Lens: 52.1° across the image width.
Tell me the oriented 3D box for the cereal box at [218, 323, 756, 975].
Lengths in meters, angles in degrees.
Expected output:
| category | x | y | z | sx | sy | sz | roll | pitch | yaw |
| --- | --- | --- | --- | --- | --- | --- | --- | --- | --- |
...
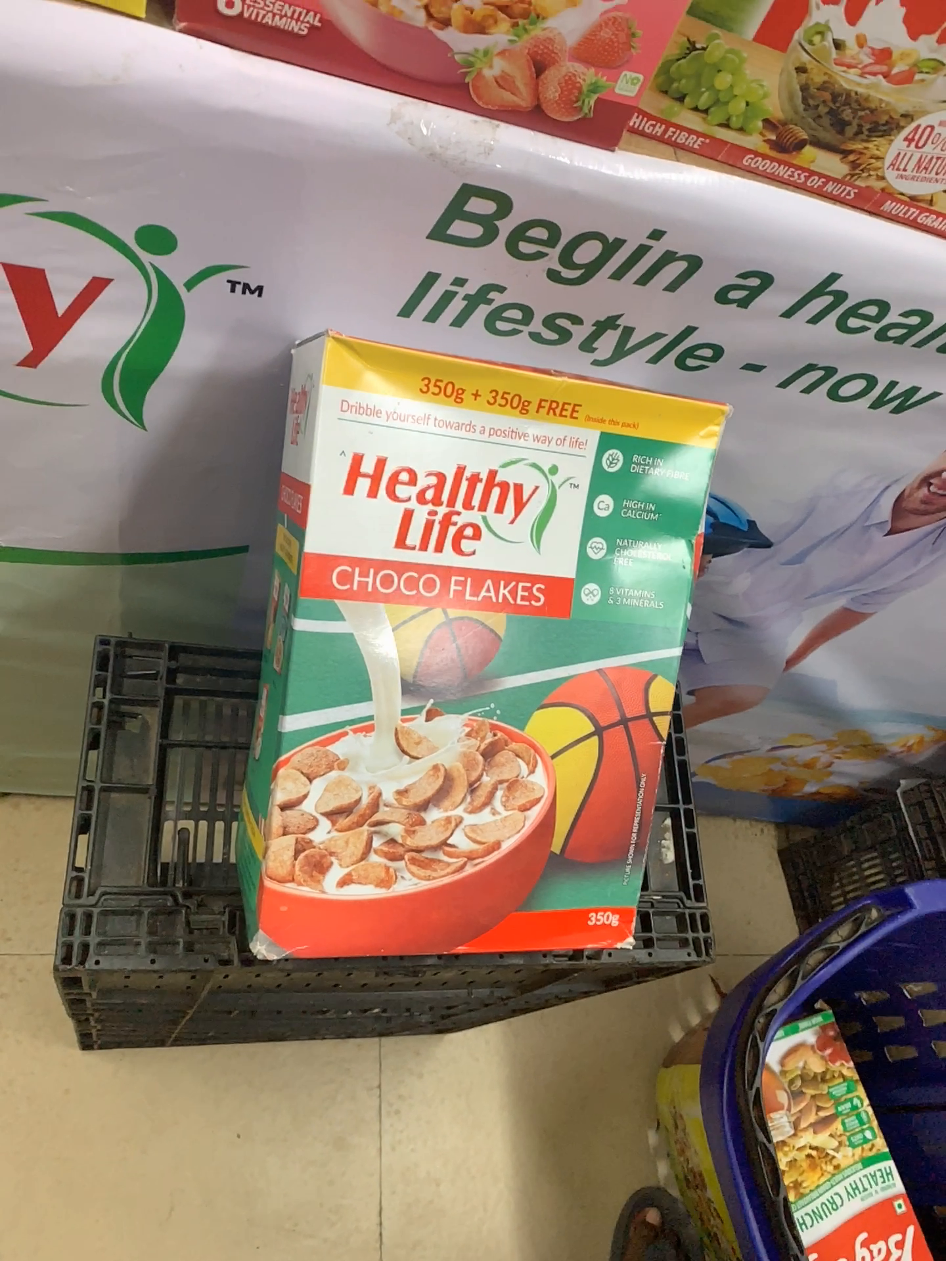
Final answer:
| category | x | y | z | sx | sy | sz | roll | pitch | yaw |
| --- | --- | --- | --- | --- | --- | --- | --- | --- | --- |
| cereal box | -0.003 | 0.014 | 0.477 | 0.210 | 0.090 | 0.280 | 5 | 102 | -18 |
